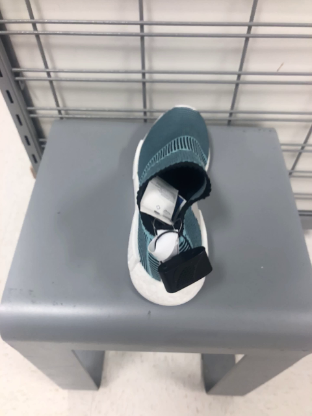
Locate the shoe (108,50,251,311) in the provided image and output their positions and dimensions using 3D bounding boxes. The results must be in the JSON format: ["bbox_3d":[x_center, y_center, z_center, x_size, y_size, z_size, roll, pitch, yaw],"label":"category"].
[{"bbox_3d":[0.027,-0.047,0.433,0.120,0.129,0.301,4,55,0],"label":"shoe"}]
